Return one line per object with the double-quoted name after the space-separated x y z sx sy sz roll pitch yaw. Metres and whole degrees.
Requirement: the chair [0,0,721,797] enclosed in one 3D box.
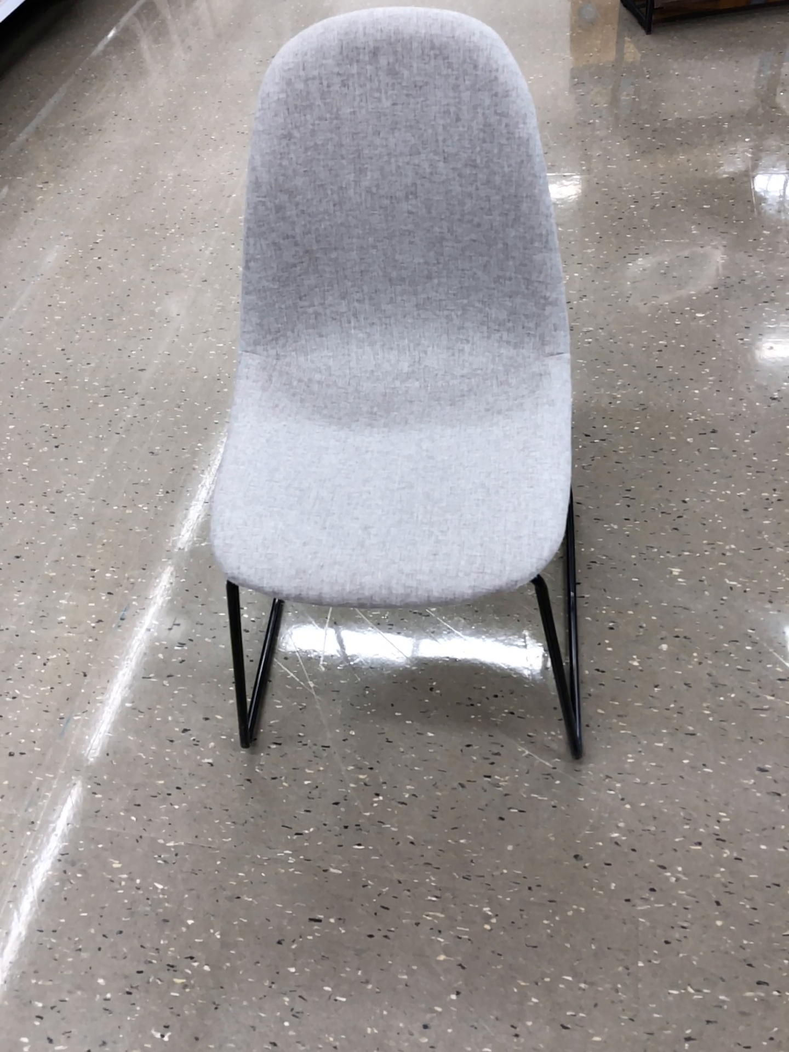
-0.015 -0.110 1.076 0.590 0.778 0.582 0 50 8 "chair"
